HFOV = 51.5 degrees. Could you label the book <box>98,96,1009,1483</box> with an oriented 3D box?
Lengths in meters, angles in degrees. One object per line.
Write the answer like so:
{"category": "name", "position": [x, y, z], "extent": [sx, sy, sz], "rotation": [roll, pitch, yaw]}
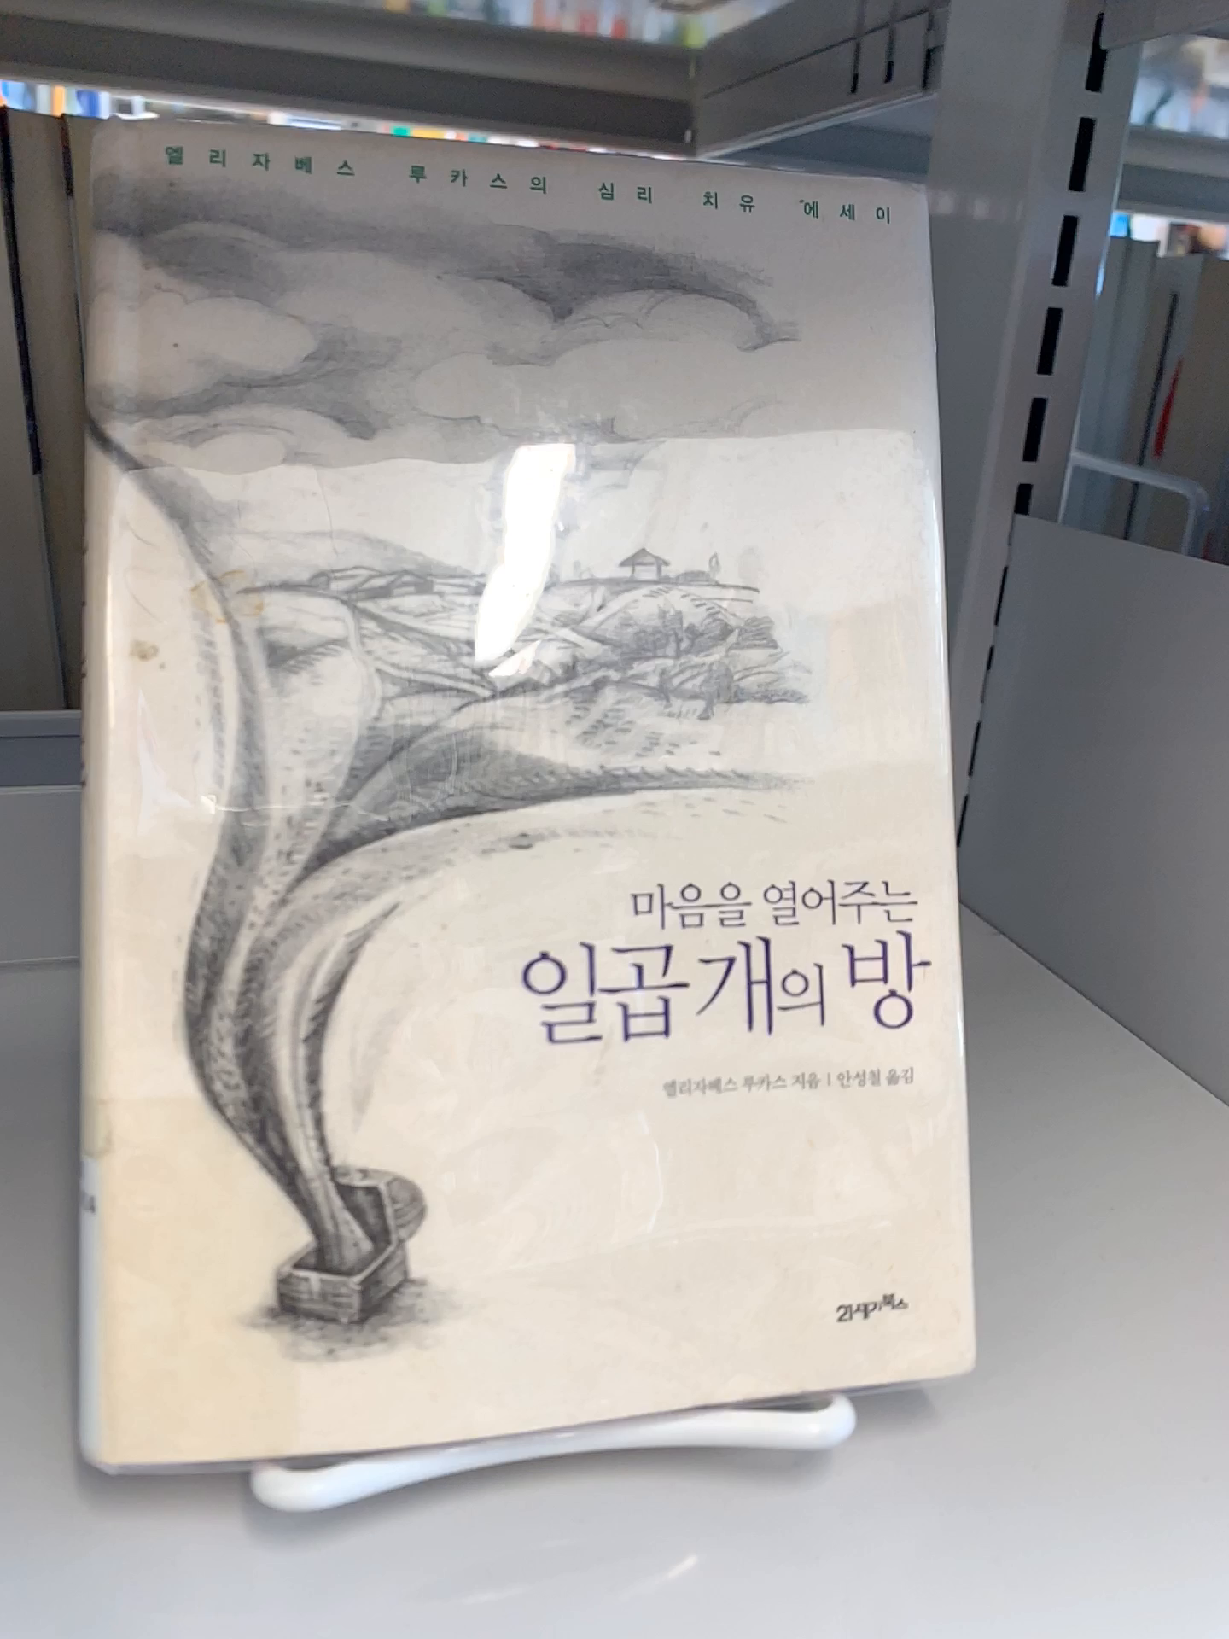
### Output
{"category": "book", "position": [-0.007, -0.006, 0.200], "extent": [0.137, 0.193, 0.019], "rotation": [0, -1, -12]}
